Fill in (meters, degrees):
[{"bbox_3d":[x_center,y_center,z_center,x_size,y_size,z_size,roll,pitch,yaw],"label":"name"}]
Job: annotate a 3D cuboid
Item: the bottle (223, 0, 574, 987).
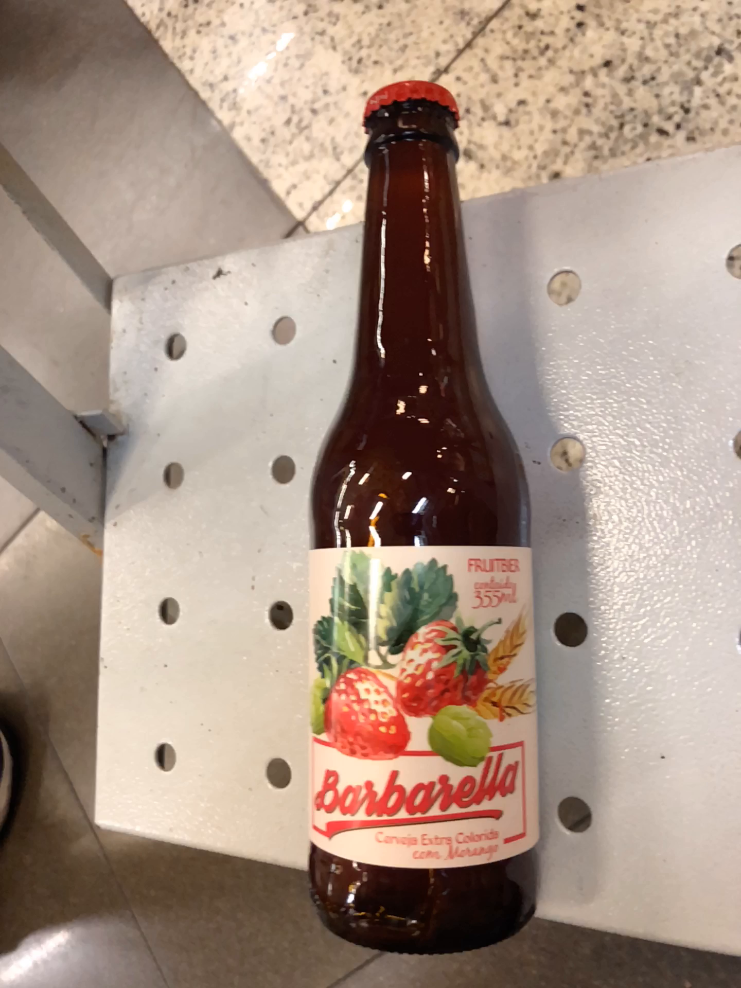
[{"bbox_3d":[0.007,-0.009,0.228,0.070,0.060,0.240,-5,82,27],"label":"bottle"}]
